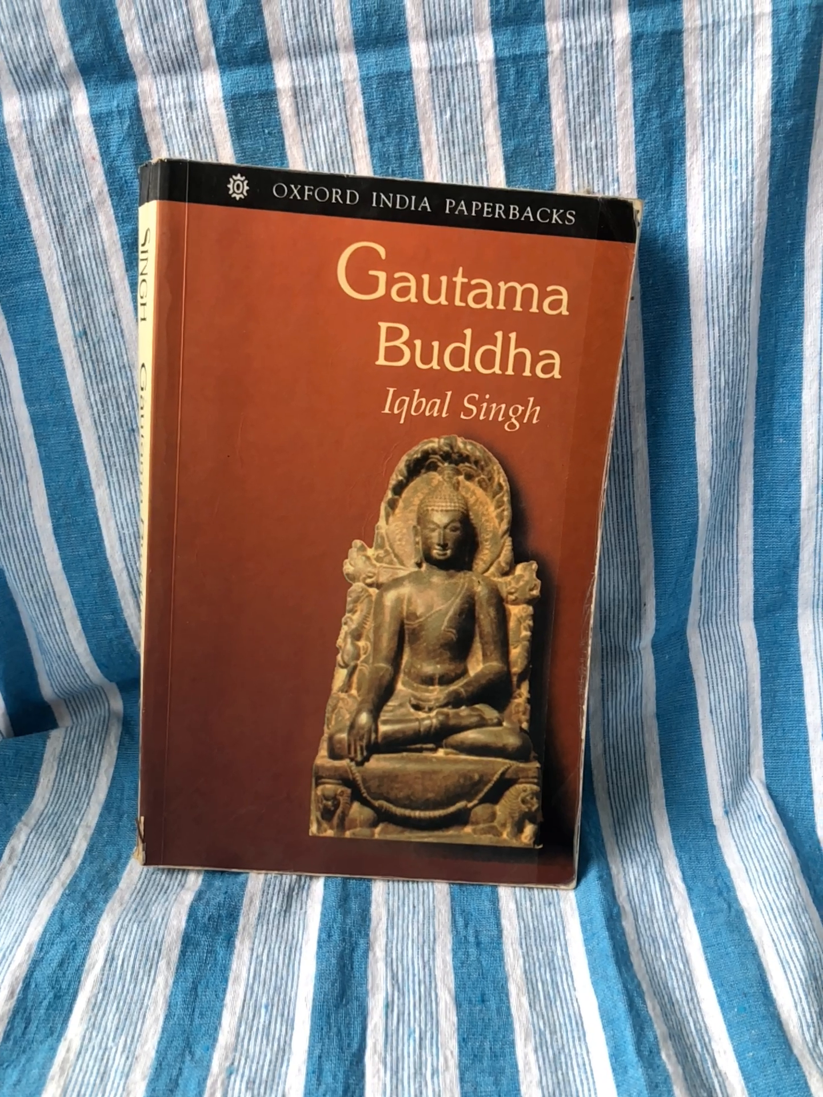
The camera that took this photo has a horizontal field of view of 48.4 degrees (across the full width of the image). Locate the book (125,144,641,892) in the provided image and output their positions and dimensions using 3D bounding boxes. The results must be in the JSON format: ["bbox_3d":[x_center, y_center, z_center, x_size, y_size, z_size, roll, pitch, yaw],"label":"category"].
[{"bbox_3d":[-0.012,-0.006,0.282,0.140,0.210,0.040,2,8,0],"label":"book"}]
